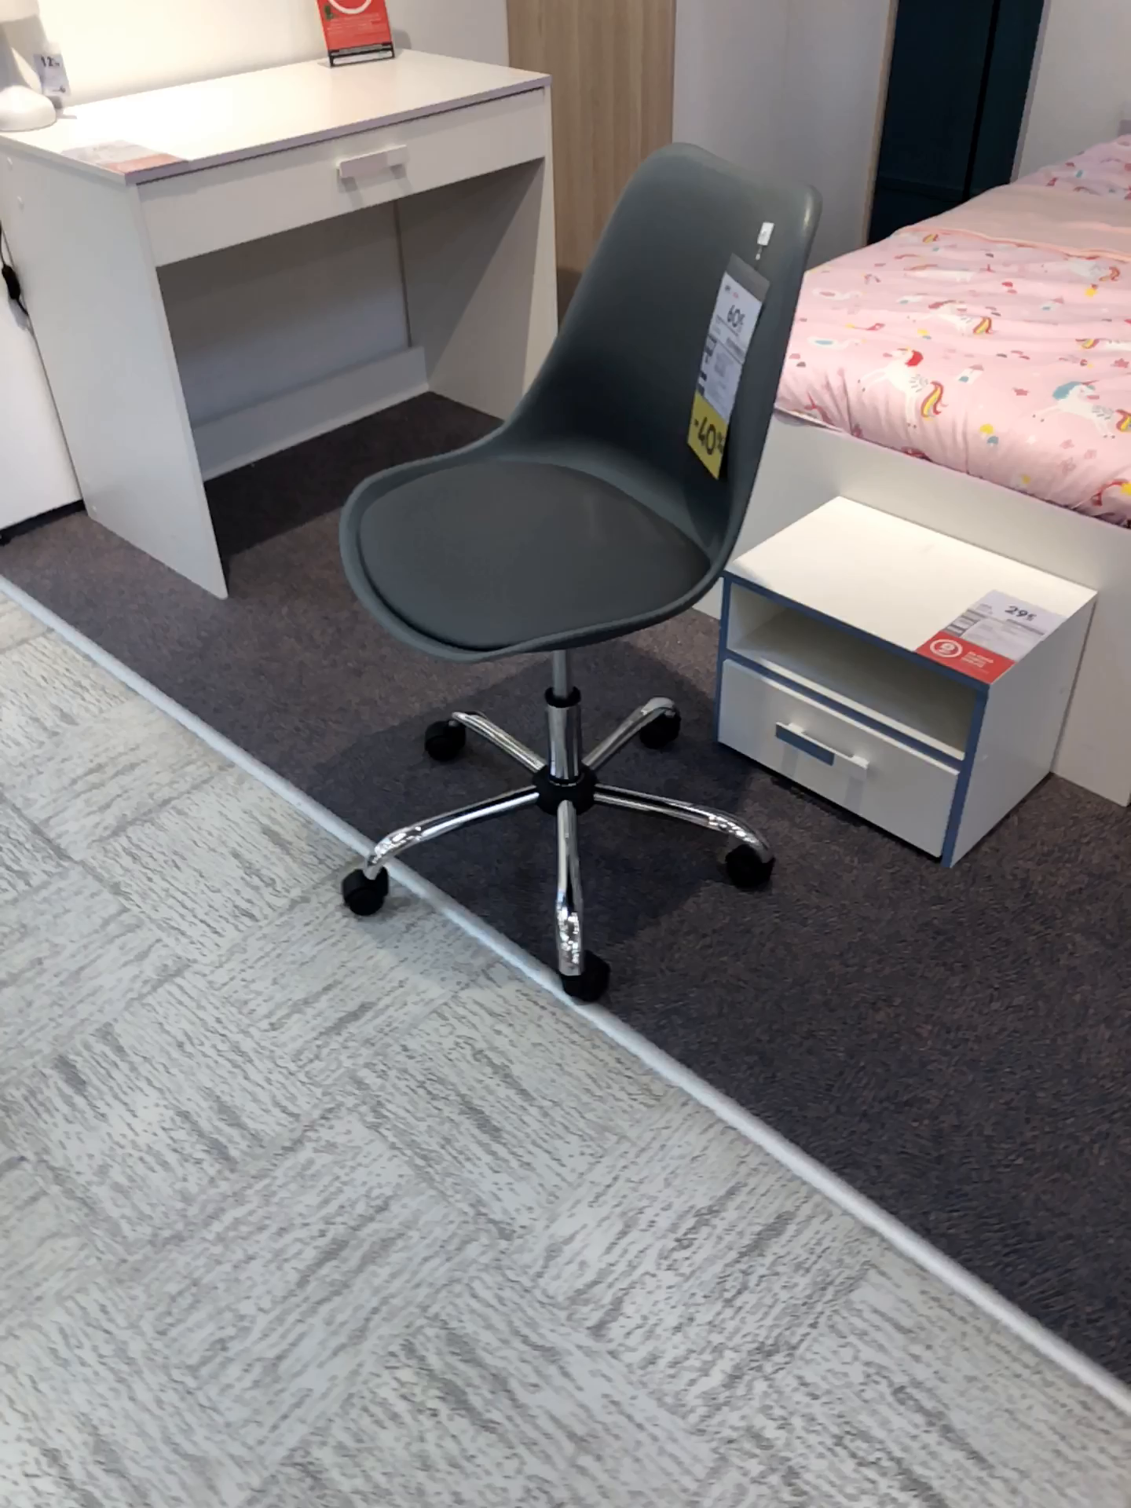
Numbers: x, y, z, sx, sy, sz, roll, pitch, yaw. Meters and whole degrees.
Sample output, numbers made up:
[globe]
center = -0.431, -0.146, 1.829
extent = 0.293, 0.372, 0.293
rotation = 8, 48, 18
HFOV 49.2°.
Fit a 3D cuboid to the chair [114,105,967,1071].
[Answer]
[chair]
center = -0.036, -0.230, 1.496
extent = 0.632, 0.835, 0.602
rotation = -23, 43, -25
